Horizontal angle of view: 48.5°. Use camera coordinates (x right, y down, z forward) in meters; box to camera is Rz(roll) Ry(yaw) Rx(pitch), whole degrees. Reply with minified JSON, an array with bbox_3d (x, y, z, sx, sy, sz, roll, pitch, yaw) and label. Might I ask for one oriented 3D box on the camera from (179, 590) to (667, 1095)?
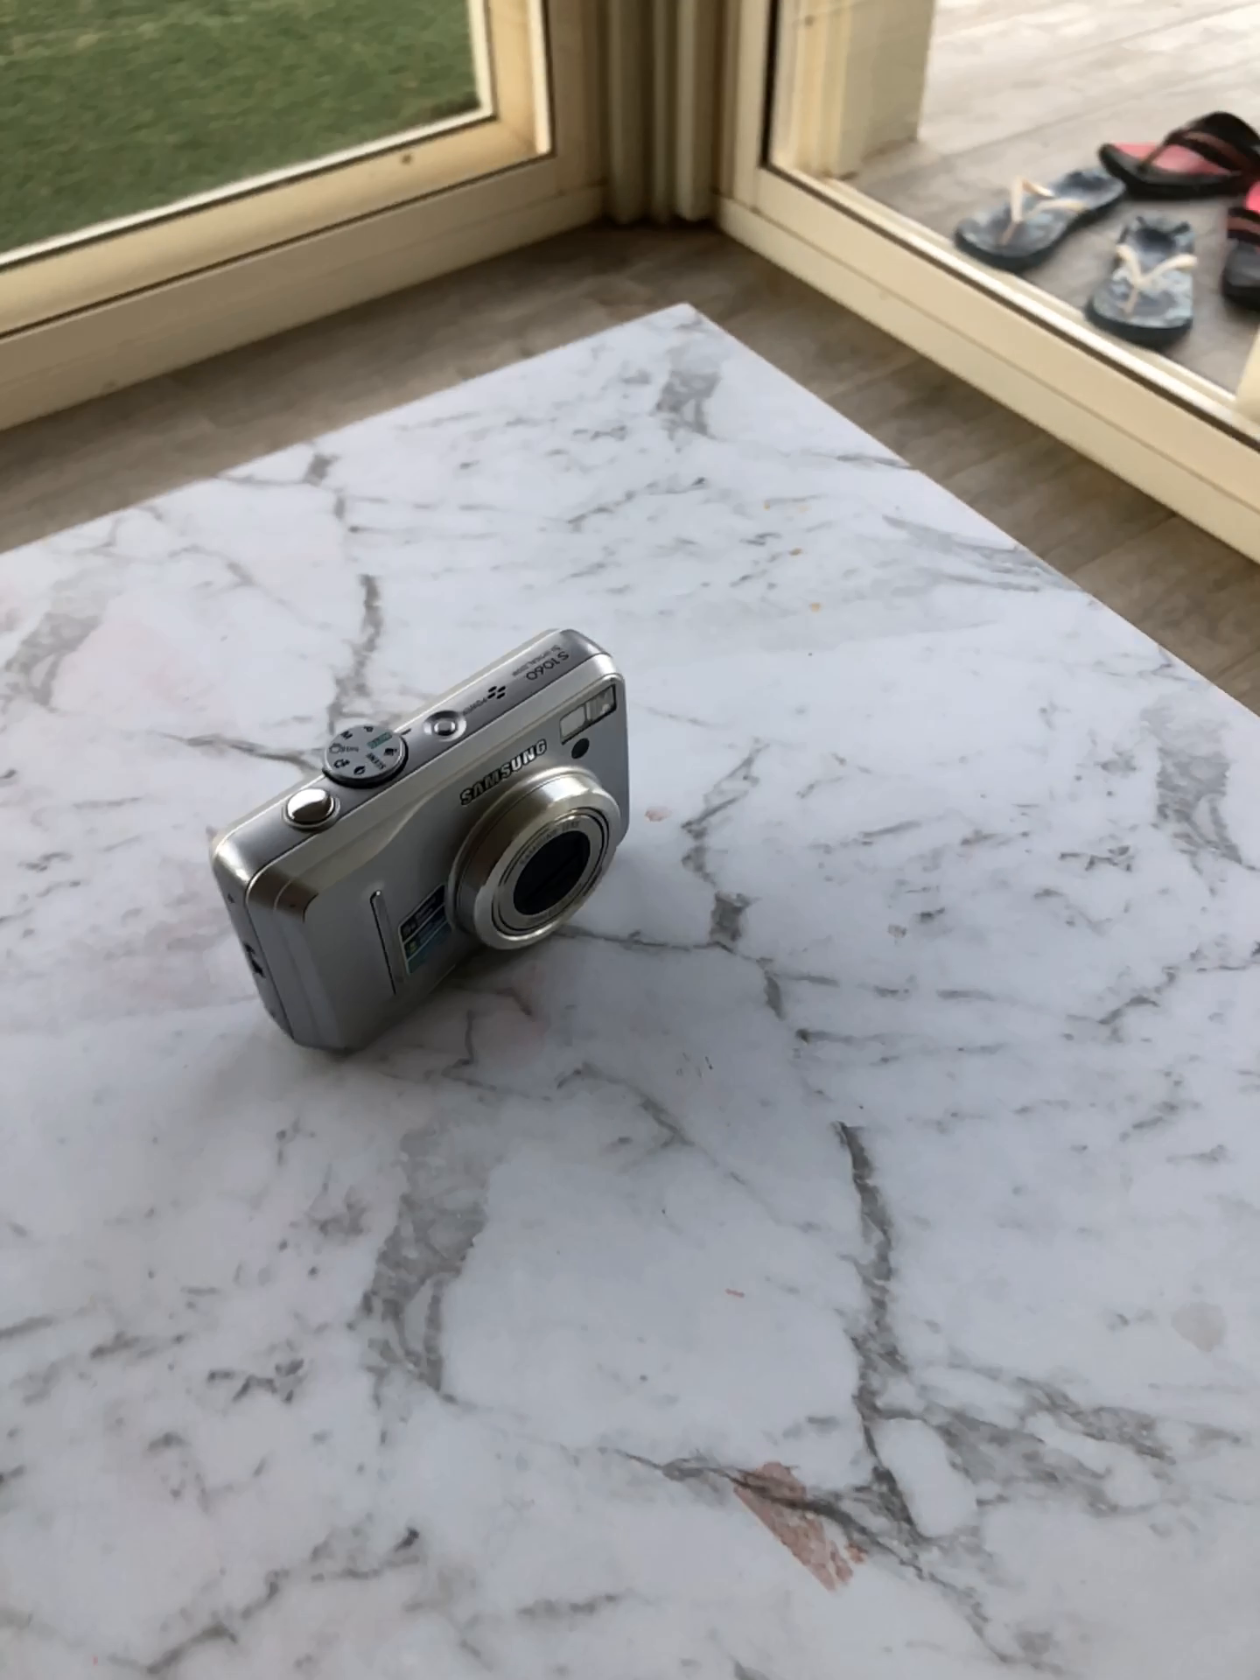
[{"bbox_3d":[-0.039,-0.001,0.308,0.099,0.061,0.034,-36,58,-26],"label":"camera"}]
